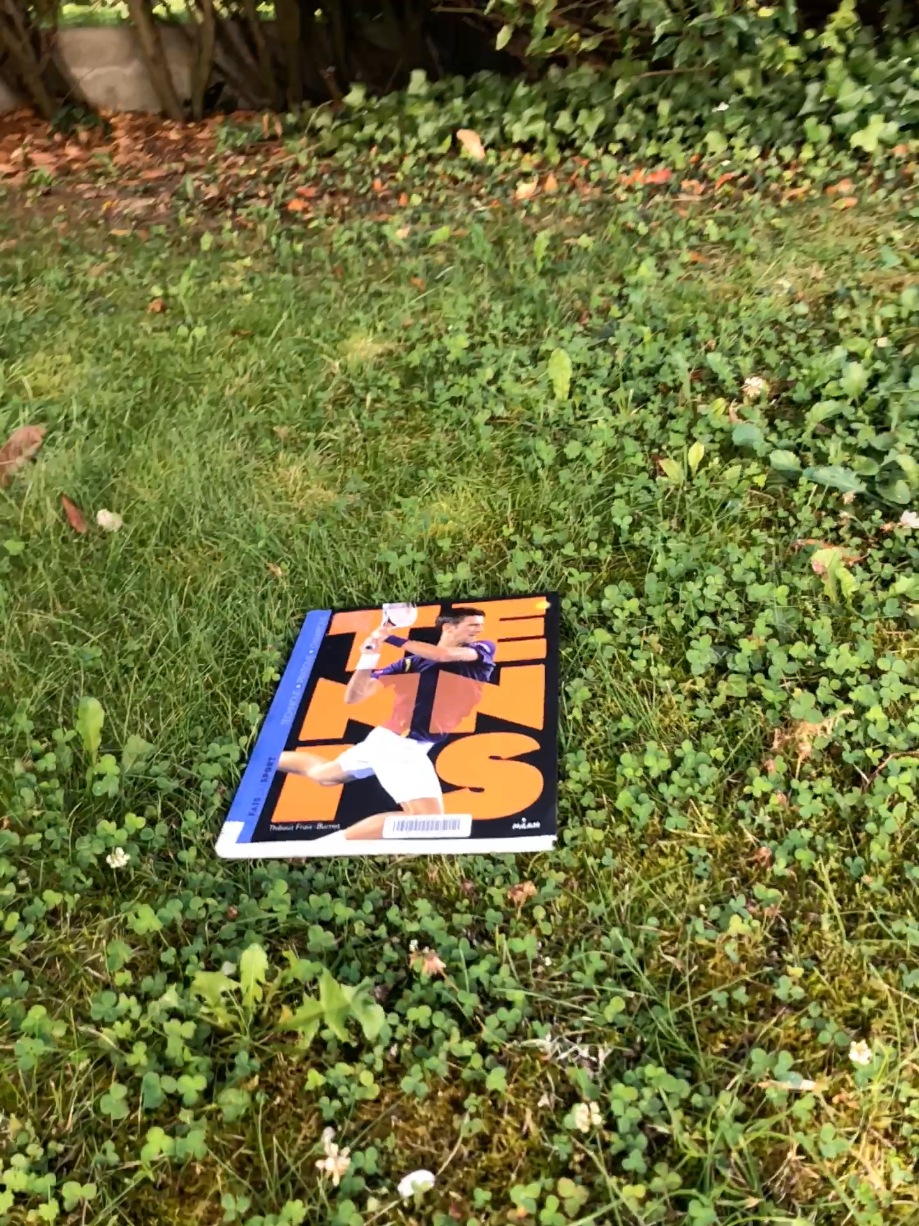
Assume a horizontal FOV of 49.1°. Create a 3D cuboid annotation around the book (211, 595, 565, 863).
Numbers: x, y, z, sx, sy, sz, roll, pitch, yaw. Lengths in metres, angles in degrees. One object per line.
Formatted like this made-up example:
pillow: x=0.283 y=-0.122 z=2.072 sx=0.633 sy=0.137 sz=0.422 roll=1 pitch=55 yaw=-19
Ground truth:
book: x=-0.031 y=0.065 z=0.659 sx=0.198 sy=0.016 sz=0.241 roll=-2 pitch=34 yaw=7
